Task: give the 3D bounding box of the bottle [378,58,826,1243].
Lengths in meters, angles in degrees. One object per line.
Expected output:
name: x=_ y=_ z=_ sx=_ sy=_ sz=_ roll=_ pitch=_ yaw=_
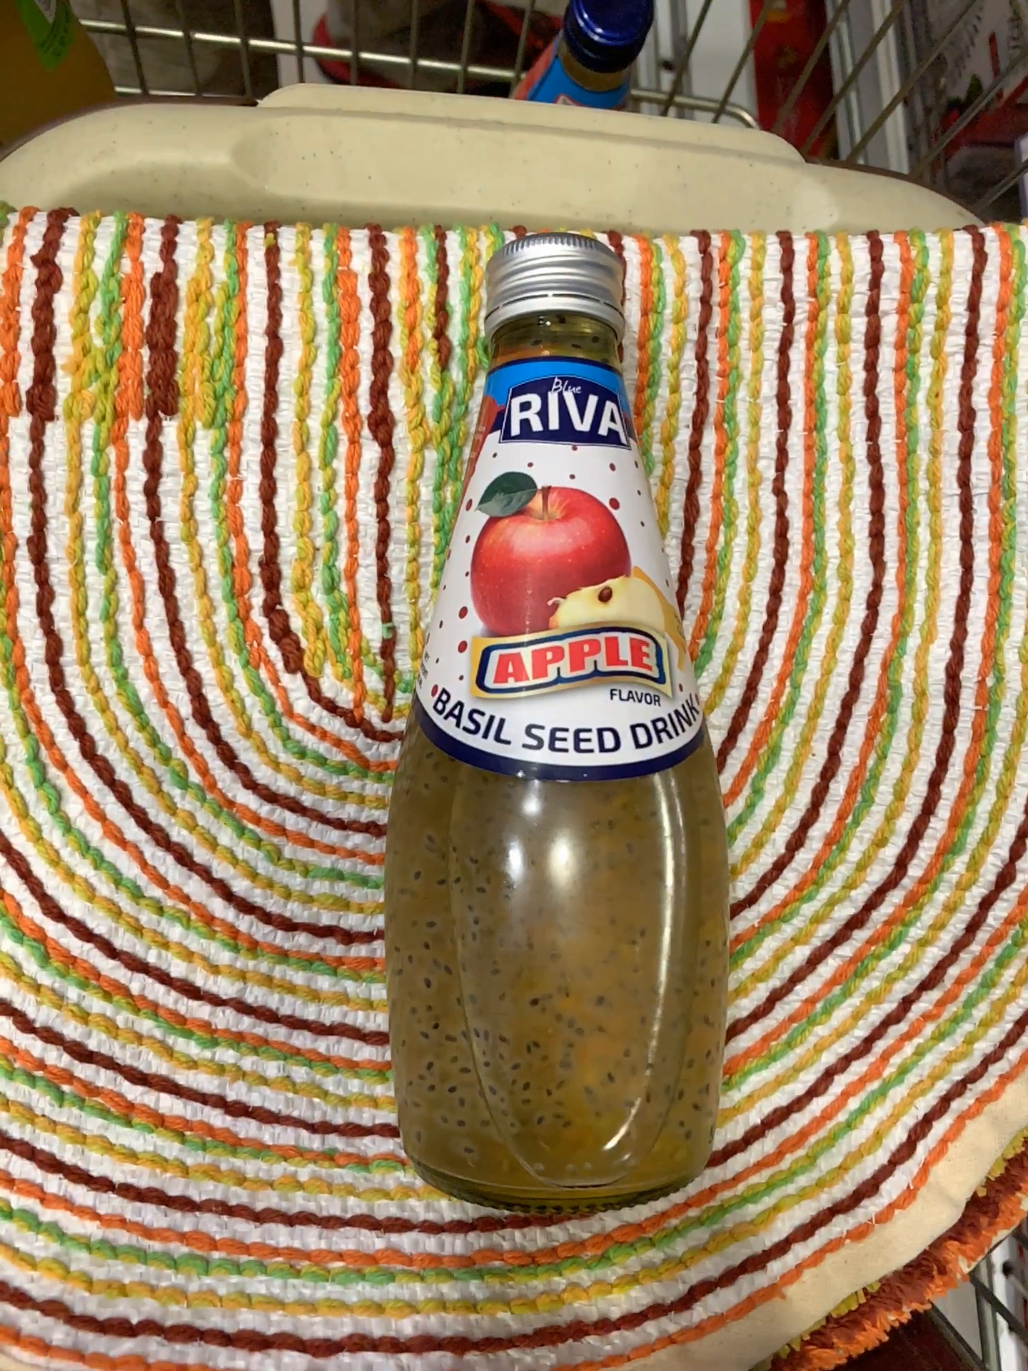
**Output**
bottle: x=0.010 y=-0.010 z=0.205 sx=0.070 sy=0.050 sz=0.200 roll=0 pitch=80 yaw=-7
